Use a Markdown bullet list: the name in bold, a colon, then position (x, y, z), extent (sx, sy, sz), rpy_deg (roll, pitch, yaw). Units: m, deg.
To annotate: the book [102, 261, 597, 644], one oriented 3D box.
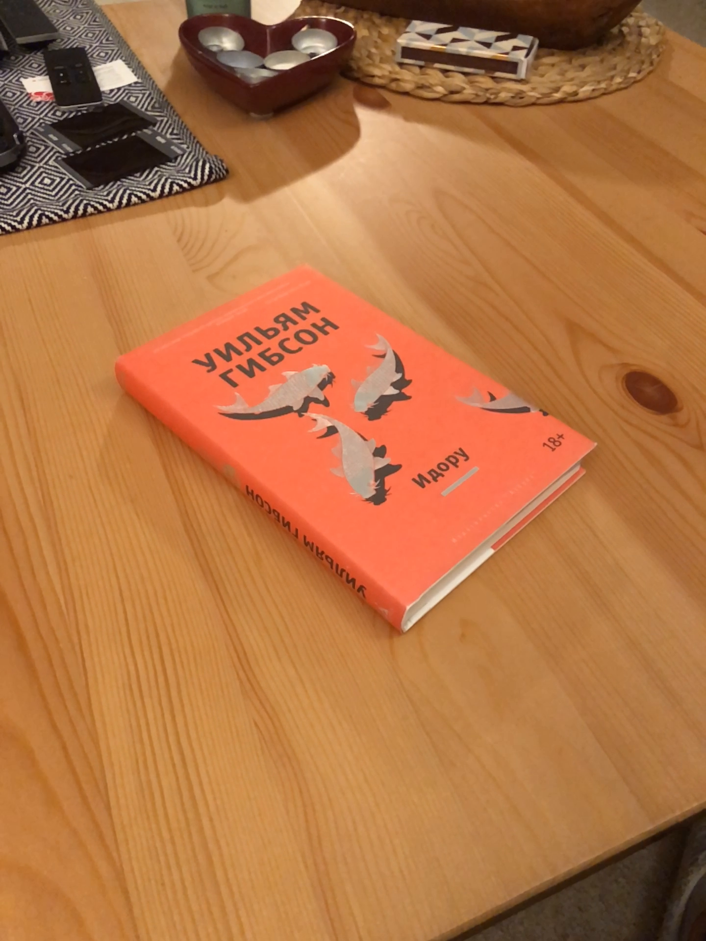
- **book**: position (-0.007, -0.027, 0.386), extent (0.134, 0.020, 0.207), rpy_deg (-35, 58, -30)
